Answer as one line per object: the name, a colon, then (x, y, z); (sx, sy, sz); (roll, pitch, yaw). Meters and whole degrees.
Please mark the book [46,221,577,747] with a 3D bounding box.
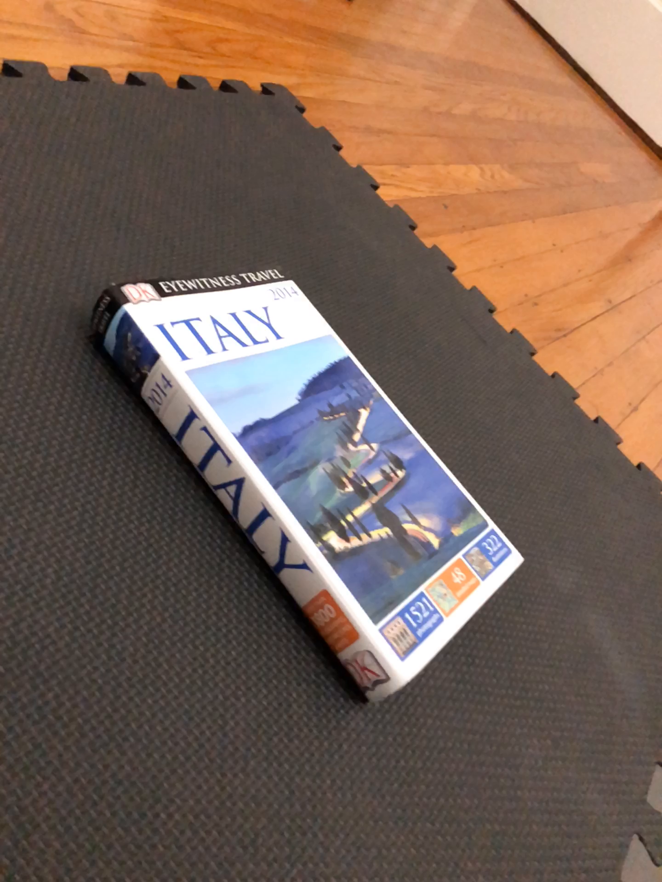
book: (0.000, -0.004, 0.373); (0.250, 0.040, 0.161); (50, 39, 10)
